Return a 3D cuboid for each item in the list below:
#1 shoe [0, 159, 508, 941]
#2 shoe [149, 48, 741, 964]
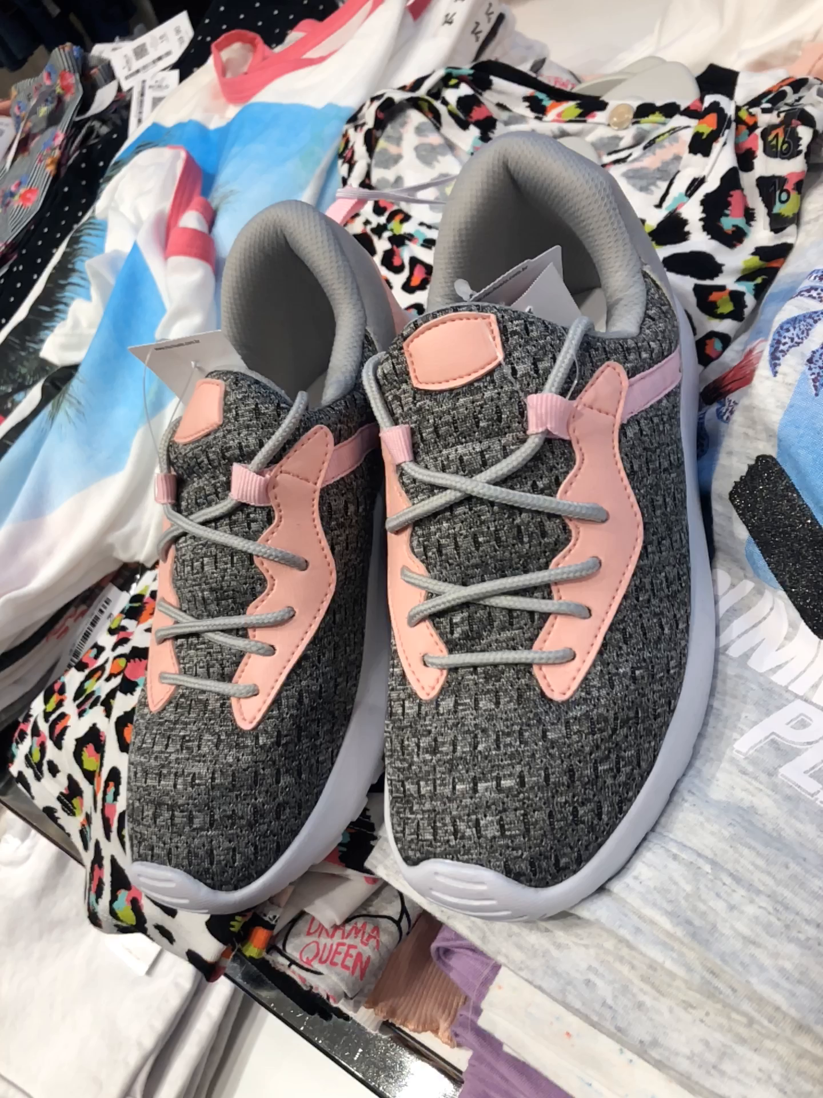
[{"bbox_3d":[-0.052,-0.002,0.308,0.100,0.099,0.221,-3,60,32],"label":"shoe"},{"bbox_3d":[0.028,-0.012,0.256,0.100,0.099,0.211,-6,59,30],"label":"shoe"}]
